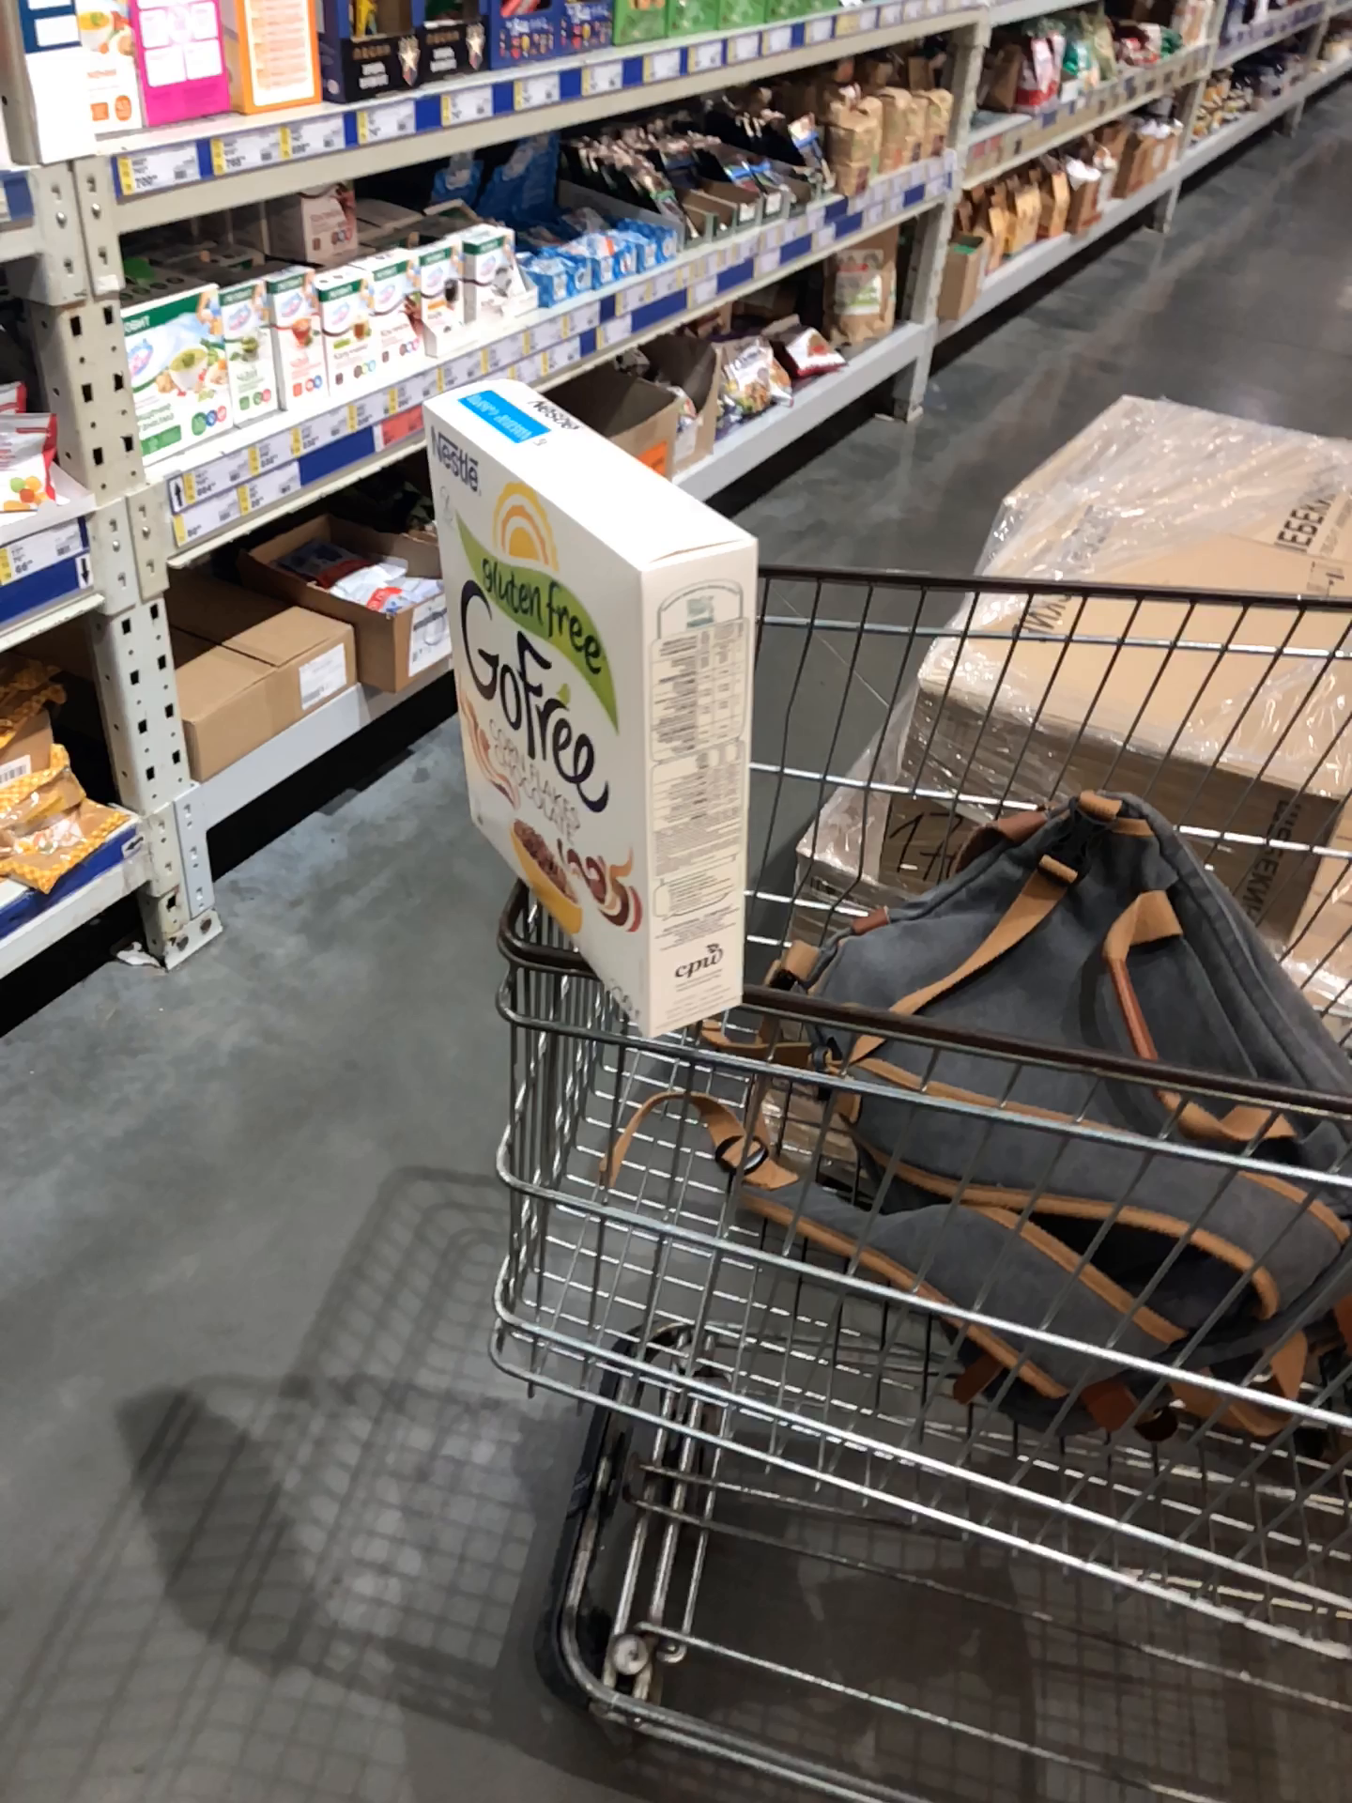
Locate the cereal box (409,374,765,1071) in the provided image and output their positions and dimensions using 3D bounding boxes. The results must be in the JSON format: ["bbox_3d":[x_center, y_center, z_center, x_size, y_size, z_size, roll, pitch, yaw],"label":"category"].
[{"bbox_3d":[-0.042,-0.080,0.638,0.050,0.228,0.201,-19,41,-24],"label":"cereal box"}]
